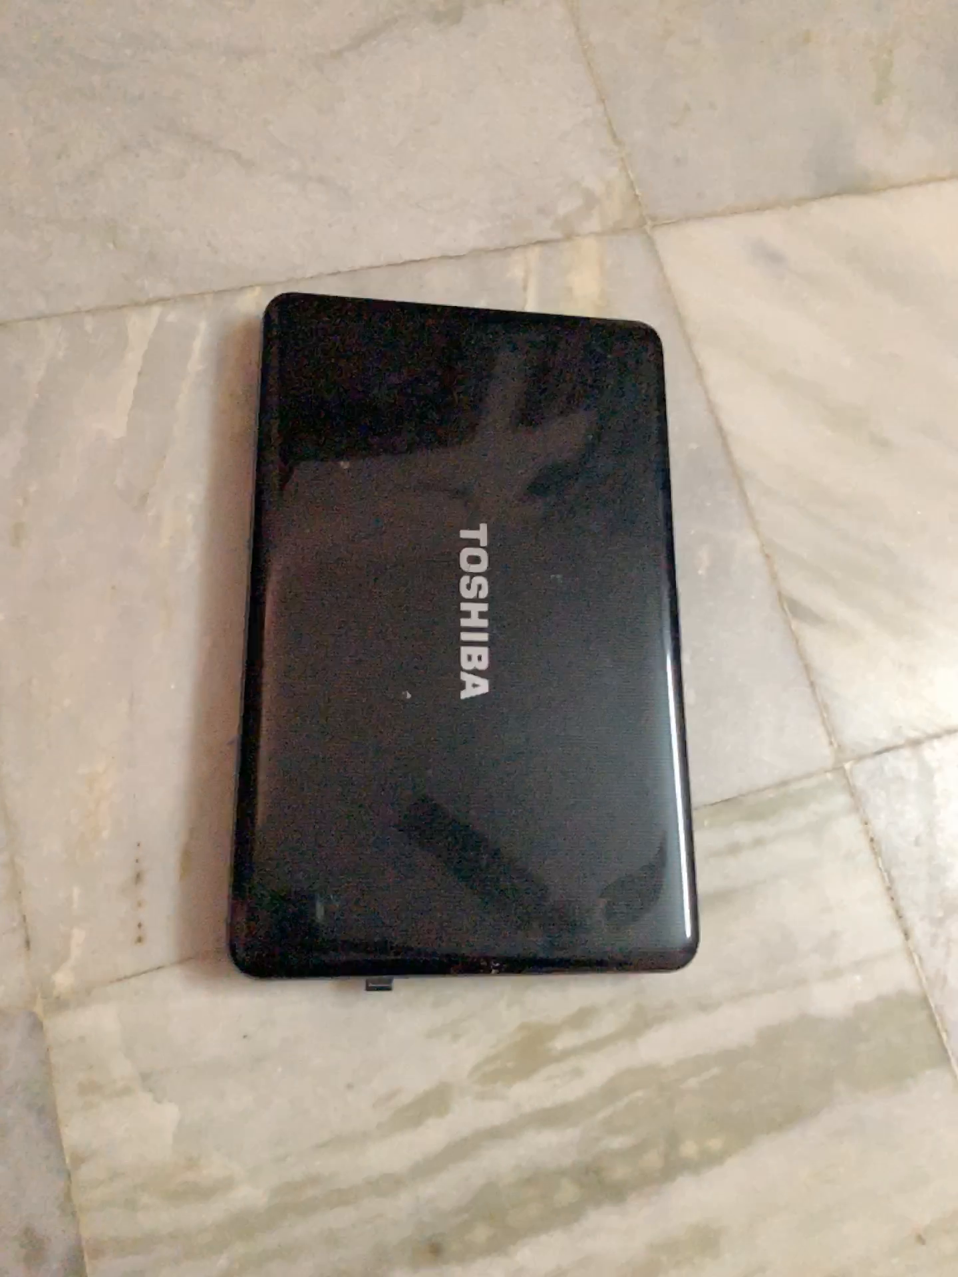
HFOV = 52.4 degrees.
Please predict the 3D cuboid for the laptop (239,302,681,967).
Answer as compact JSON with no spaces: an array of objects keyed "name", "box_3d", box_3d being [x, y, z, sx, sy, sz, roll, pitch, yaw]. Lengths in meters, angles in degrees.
[{"name":"laptop","box_3d":[-0.007,-0.013,0.526,0.222,0.003,0.355,2,76,-10]}]
